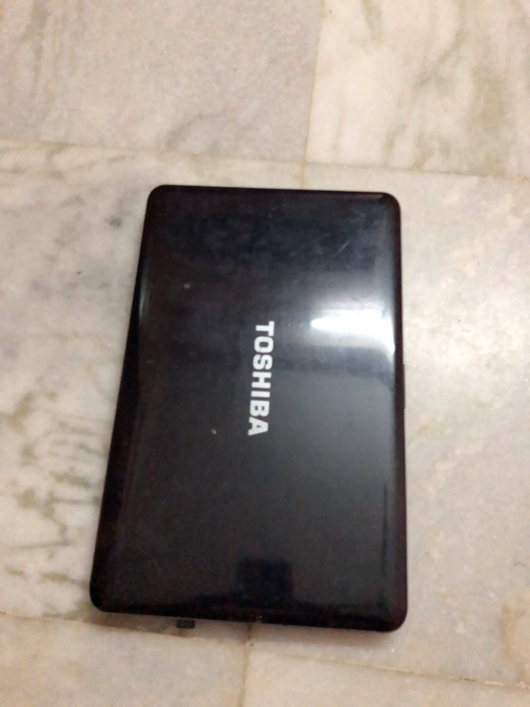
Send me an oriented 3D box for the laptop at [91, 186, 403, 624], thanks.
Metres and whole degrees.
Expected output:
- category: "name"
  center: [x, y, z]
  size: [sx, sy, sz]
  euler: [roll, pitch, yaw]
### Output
- category: "laptop"
  center: [-0.003, 0.019, 0.485]
  size: [0.224, 0.004, 0.360]
  euler: [3, 70, 2]
